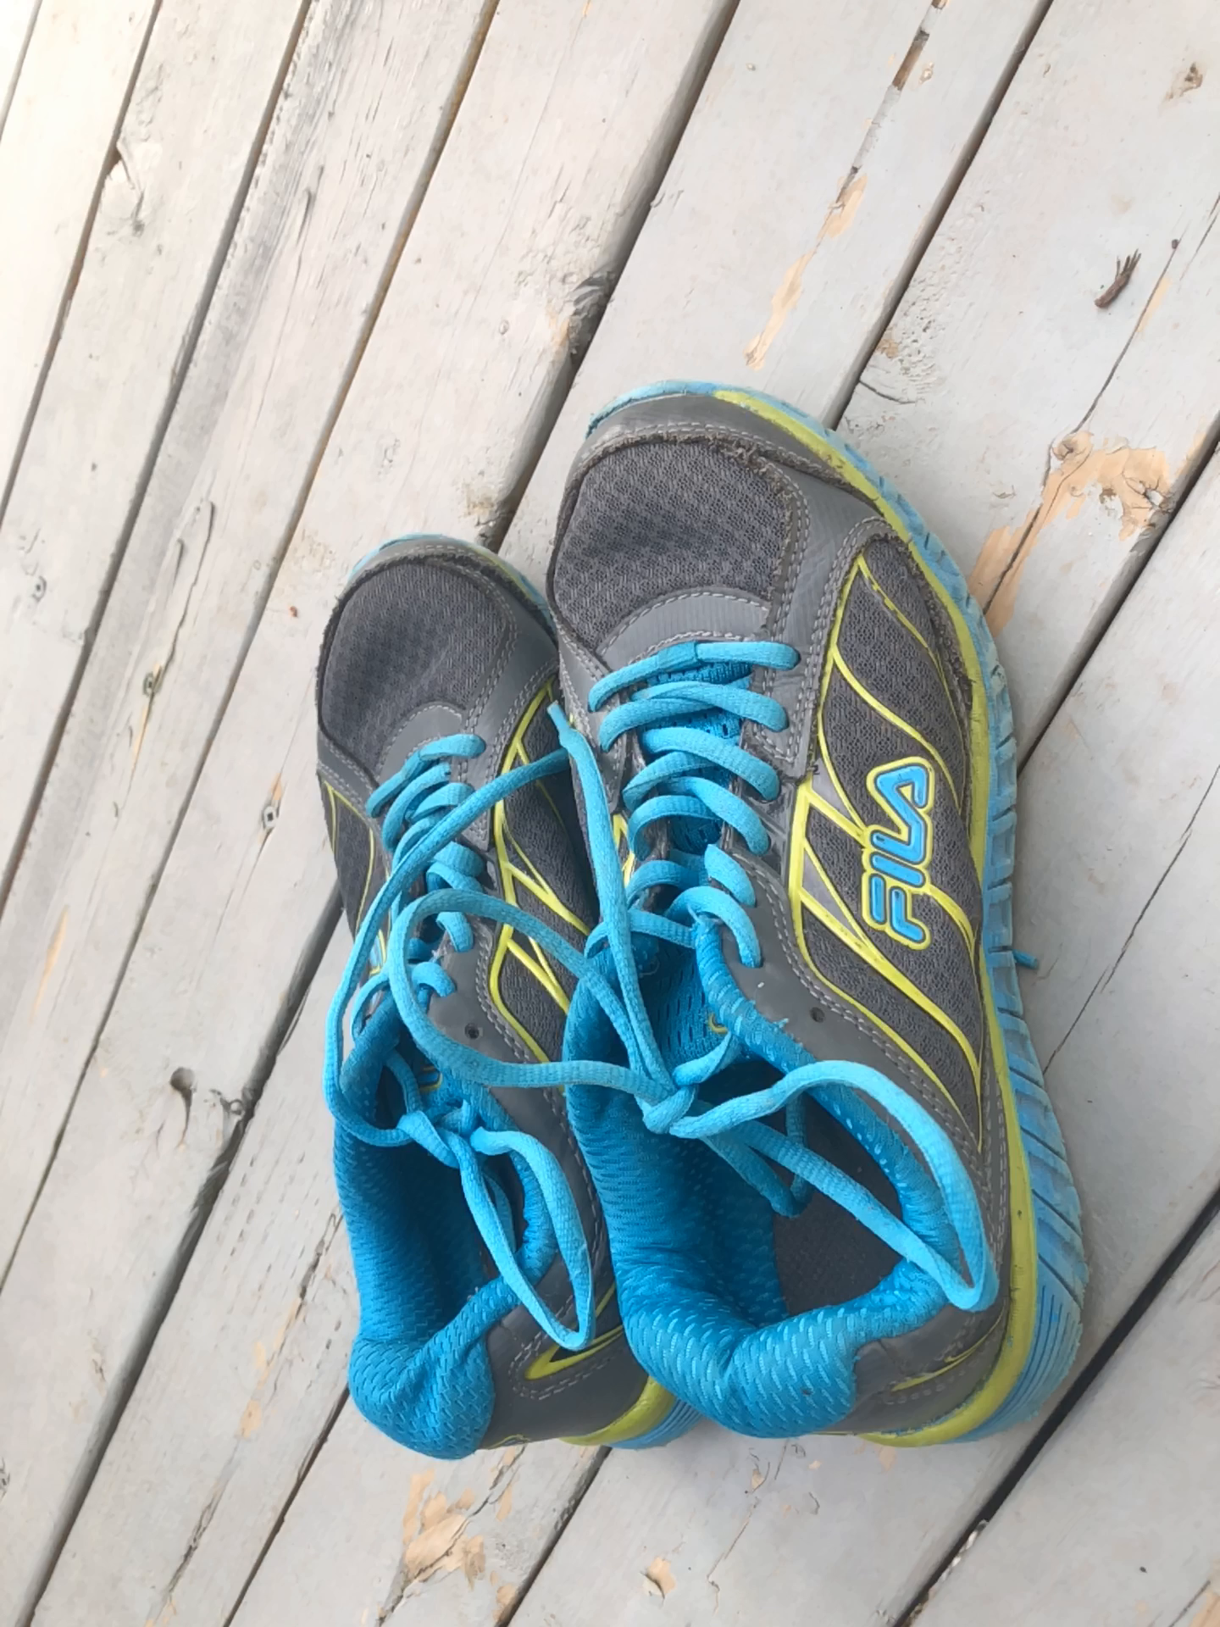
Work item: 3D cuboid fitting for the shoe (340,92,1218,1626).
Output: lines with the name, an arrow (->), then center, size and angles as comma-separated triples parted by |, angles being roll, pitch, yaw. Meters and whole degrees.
shoe -> 0.031, 0.013, 0.301 | 0.110, 0.090, 0.280 | -18, 79, 40

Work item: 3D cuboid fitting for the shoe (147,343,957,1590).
shoe -> -0.021, 0.037, 0.389 | 0.110, 0.129, 0.290 | -23, 76, 39
